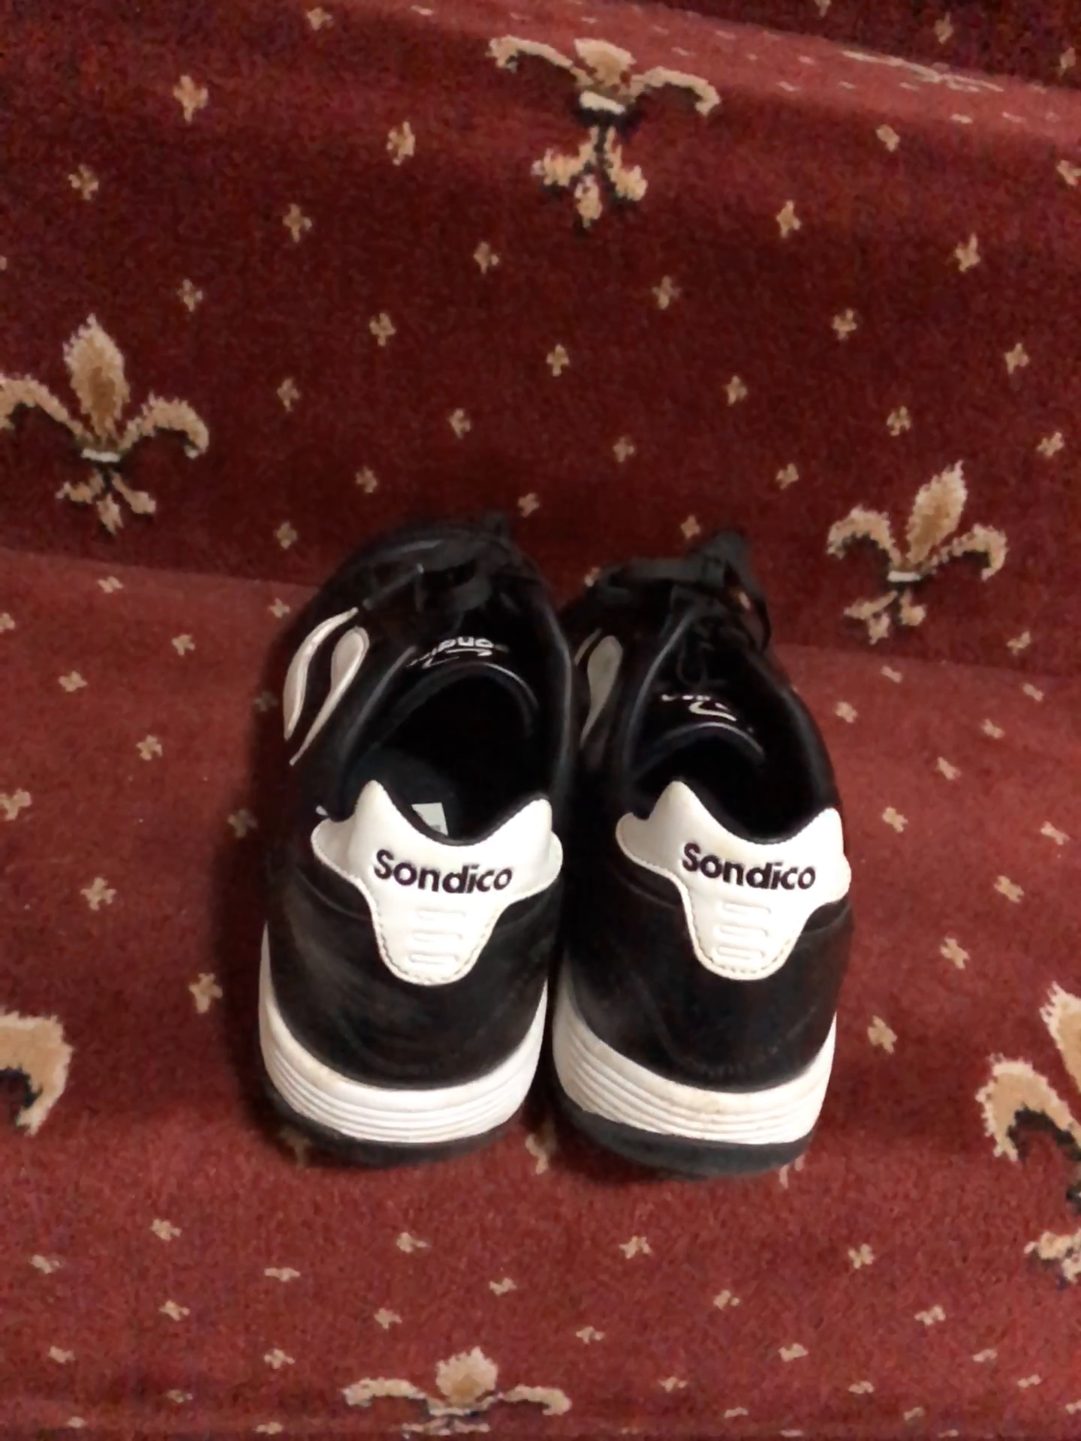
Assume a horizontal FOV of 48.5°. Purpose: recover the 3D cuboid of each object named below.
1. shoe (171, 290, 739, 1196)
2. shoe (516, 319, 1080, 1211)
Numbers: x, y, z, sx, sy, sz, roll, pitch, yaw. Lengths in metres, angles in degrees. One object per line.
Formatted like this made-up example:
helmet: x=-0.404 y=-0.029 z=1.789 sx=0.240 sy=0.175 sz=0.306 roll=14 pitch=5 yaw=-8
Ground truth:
shoe: x=-0.031 y=-0.025 z=0.361 sx=0.100 sy=0.099 sz=0.302 roll=7 pitch=36 yaw=-9
shoe: x=0.053 y=-0.019 z=0.373 sx=0.100 sy=0.099 sz=0.302 roll=9 pitch=35 yaw=-6
